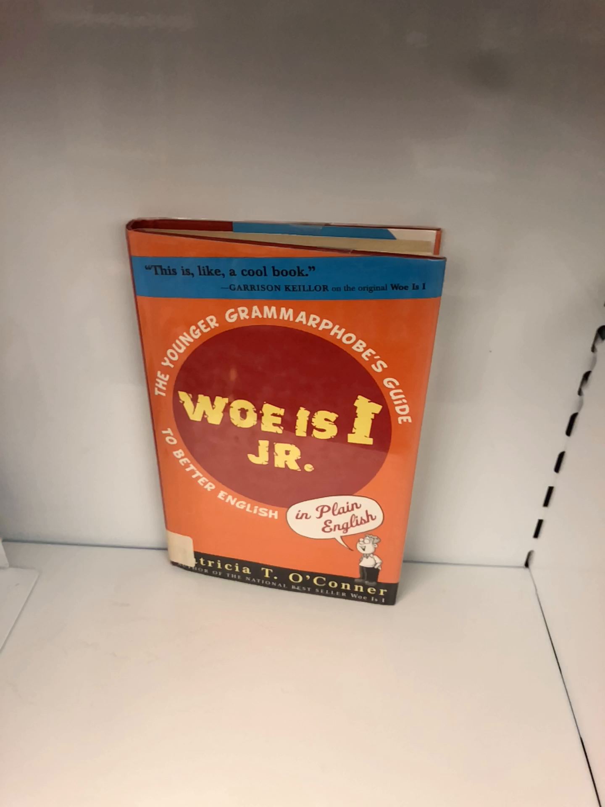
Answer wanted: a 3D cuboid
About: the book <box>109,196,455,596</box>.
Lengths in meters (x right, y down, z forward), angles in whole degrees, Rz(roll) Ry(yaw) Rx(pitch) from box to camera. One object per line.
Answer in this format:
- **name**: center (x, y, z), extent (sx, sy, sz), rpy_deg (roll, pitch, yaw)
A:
- **book**: center (-0.010, 0.006, 0.333), extent (0.137, 0.199, 0.038), rpy_deg (3, 32, 3)
